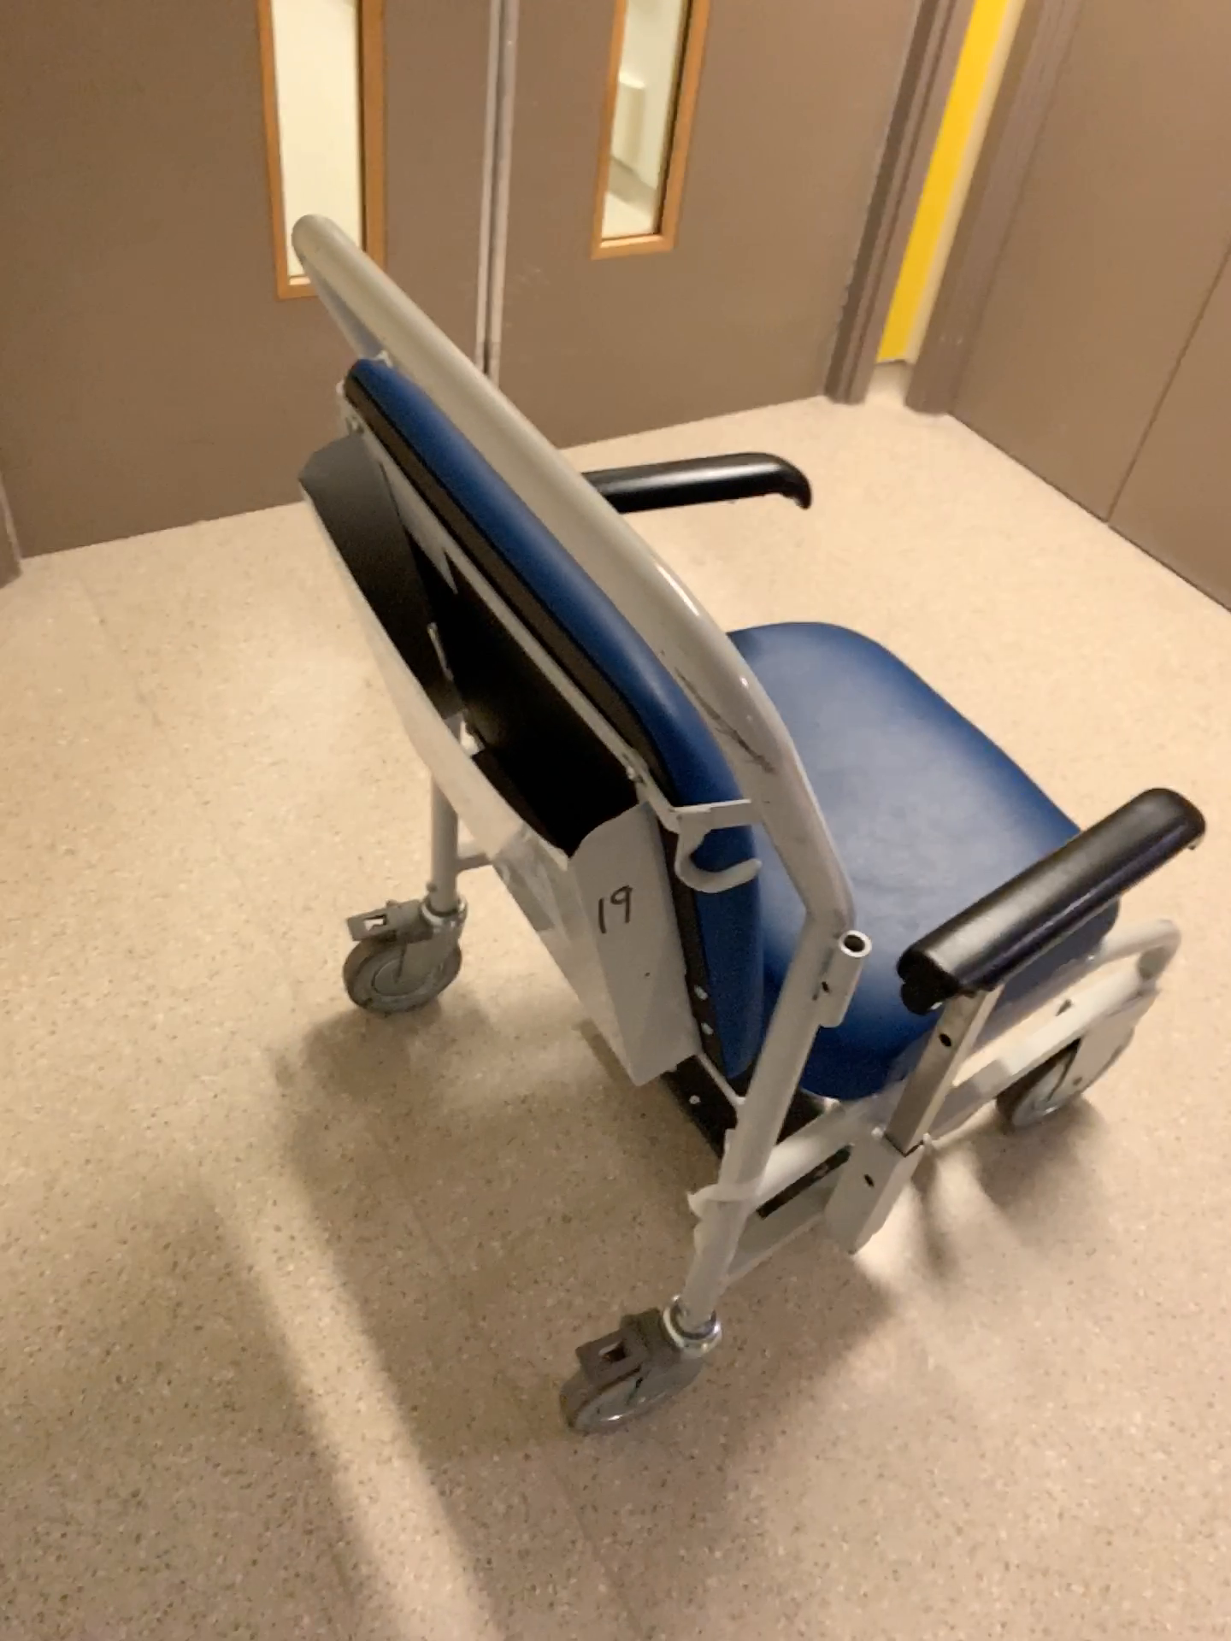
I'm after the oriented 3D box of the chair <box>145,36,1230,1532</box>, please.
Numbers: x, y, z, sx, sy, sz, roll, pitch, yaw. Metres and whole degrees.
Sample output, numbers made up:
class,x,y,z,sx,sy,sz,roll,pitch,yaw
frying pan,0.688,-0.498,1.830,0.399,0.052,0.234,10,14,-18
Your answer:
class,x,y,z,sx,sy,sz,roll,pitch,yaw
chair,0.189,-0.076,1.282,0.943,1.030,0.825,-18,51,-25
